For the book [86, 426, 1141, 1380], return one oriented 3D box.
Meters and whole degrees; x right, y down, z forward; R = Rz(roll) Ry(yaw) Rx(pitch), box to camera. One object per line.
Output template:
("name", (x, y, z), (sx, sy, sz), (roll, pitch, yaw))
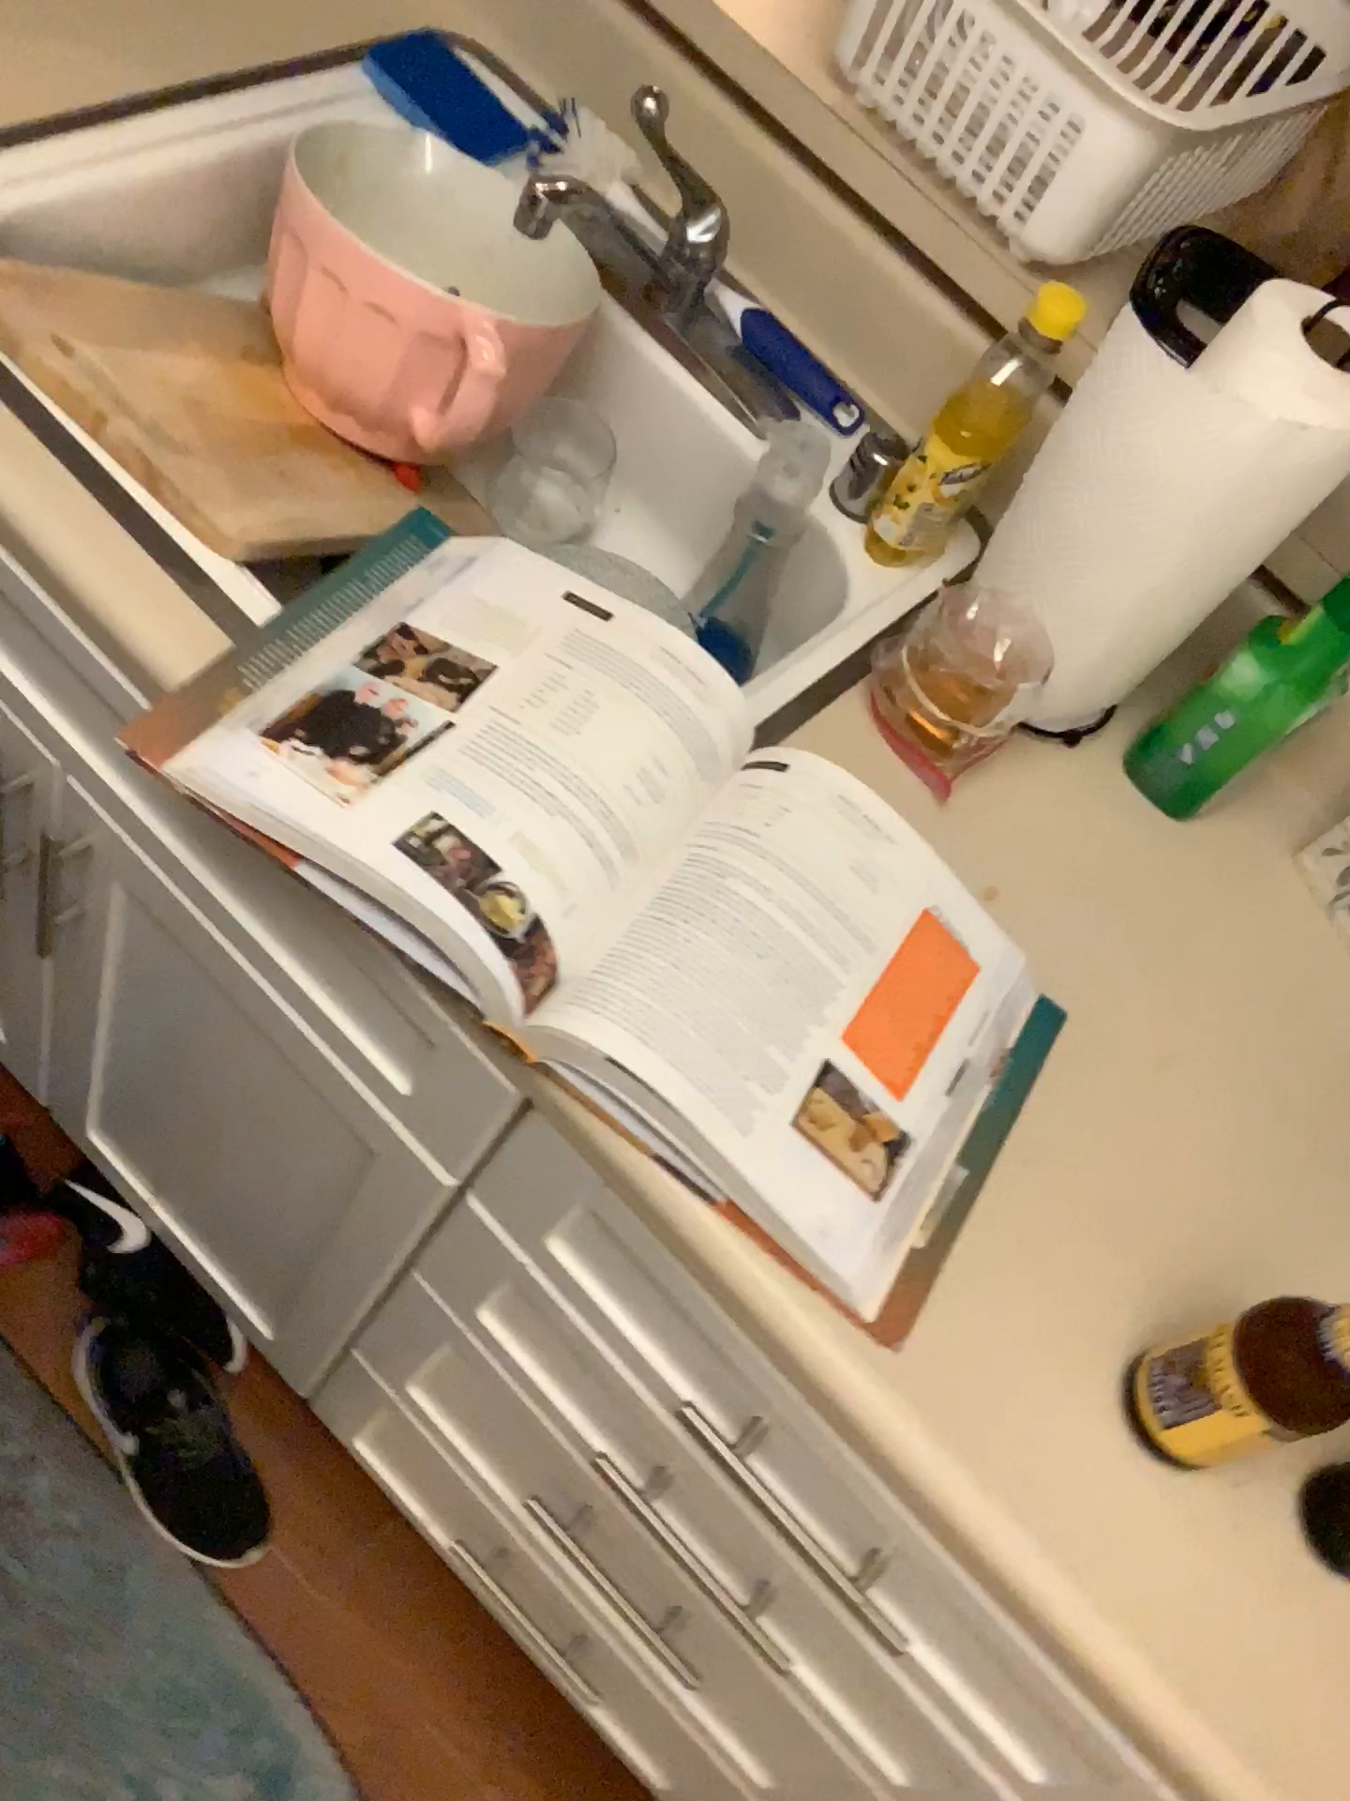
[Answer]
("book", (-0.008, -0.026, 0.836), (0.530, 0.040, 0.310), (38, 52, 1))
